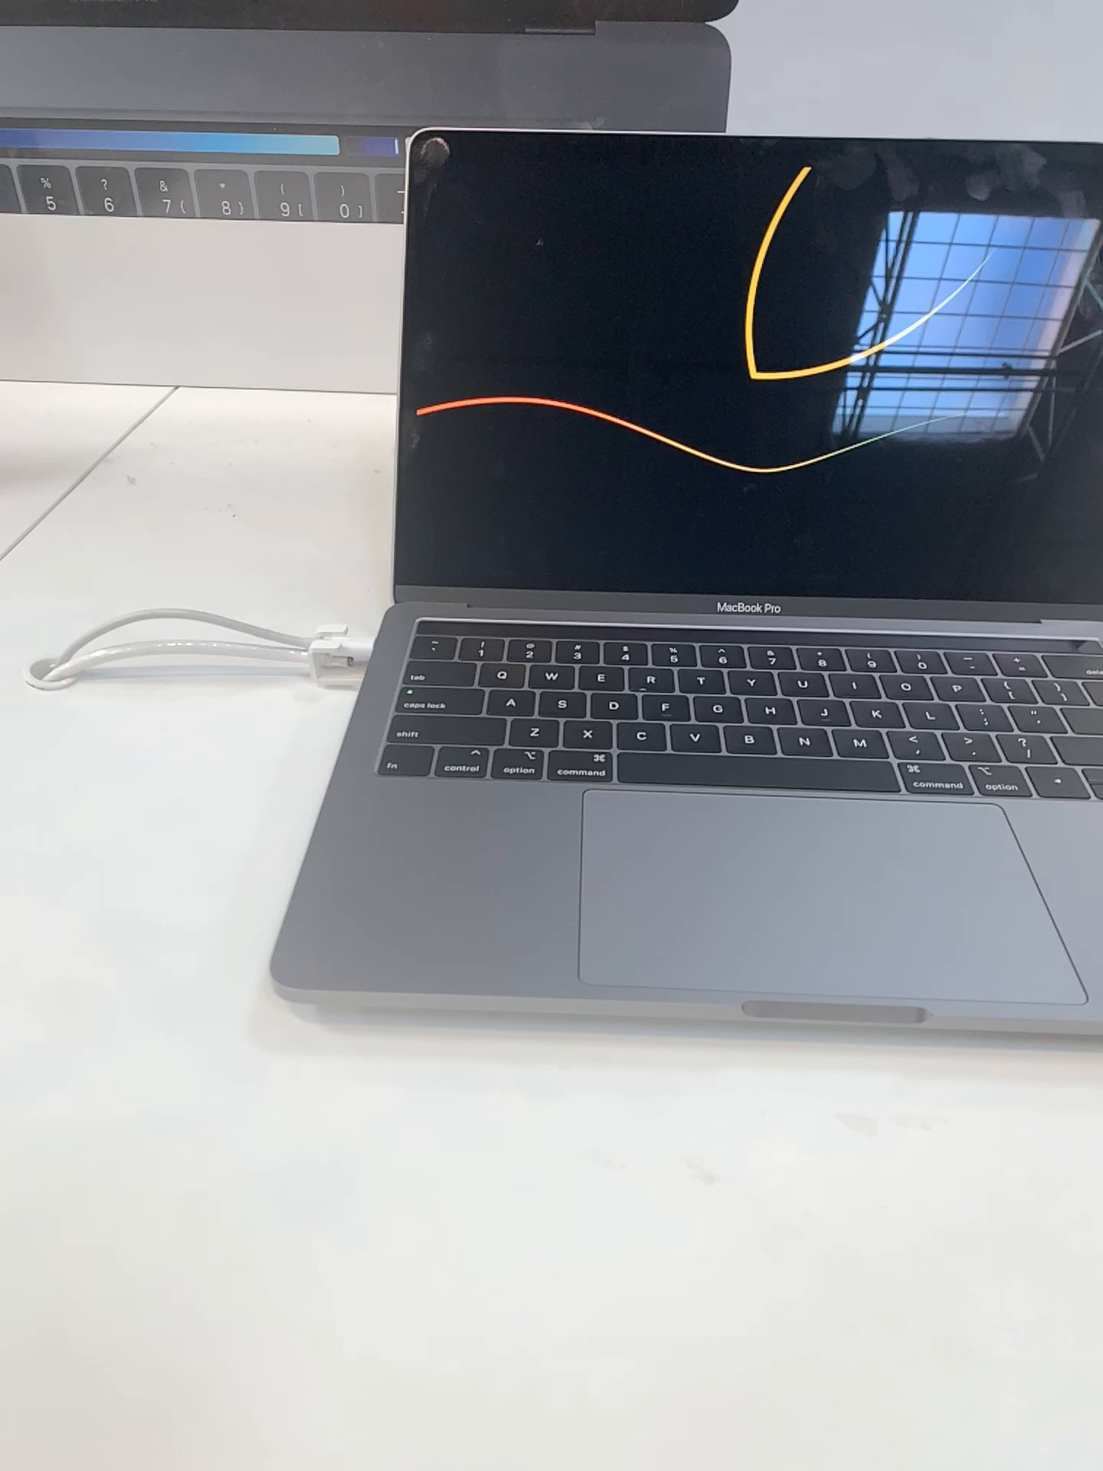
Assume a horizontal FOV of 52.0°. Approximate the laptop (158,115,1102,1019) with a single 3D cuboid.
[{"bbox_3d":[0.077,-0.089,0.369,0.284,0.150,0.316,2,37,1],"label":"laptop"}]
